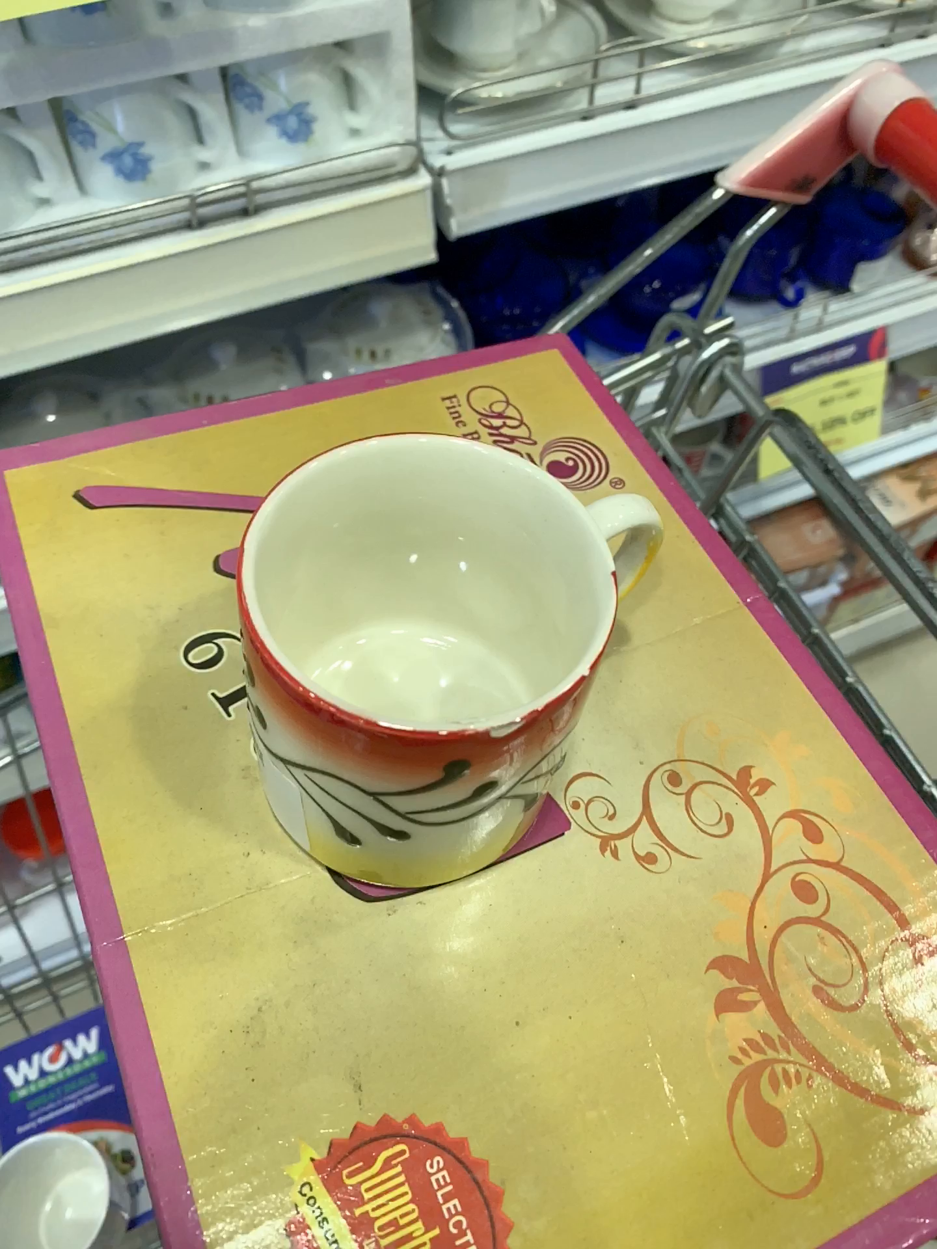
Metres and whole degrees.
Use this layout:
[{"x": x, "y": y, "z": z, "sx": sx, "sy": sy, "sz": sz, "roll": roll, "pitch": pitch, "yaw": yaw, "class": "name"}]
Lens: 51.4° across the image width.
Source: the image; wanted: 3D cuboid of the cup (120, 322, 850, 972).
[{"x": 0.000, "y": 0.001, "z": 0.207, "sx": 0.110, "sy": 0.070, "sz": 0.080, "roll": -22, "pitch": 59, "yaw": -22, "class": "cup"}]
